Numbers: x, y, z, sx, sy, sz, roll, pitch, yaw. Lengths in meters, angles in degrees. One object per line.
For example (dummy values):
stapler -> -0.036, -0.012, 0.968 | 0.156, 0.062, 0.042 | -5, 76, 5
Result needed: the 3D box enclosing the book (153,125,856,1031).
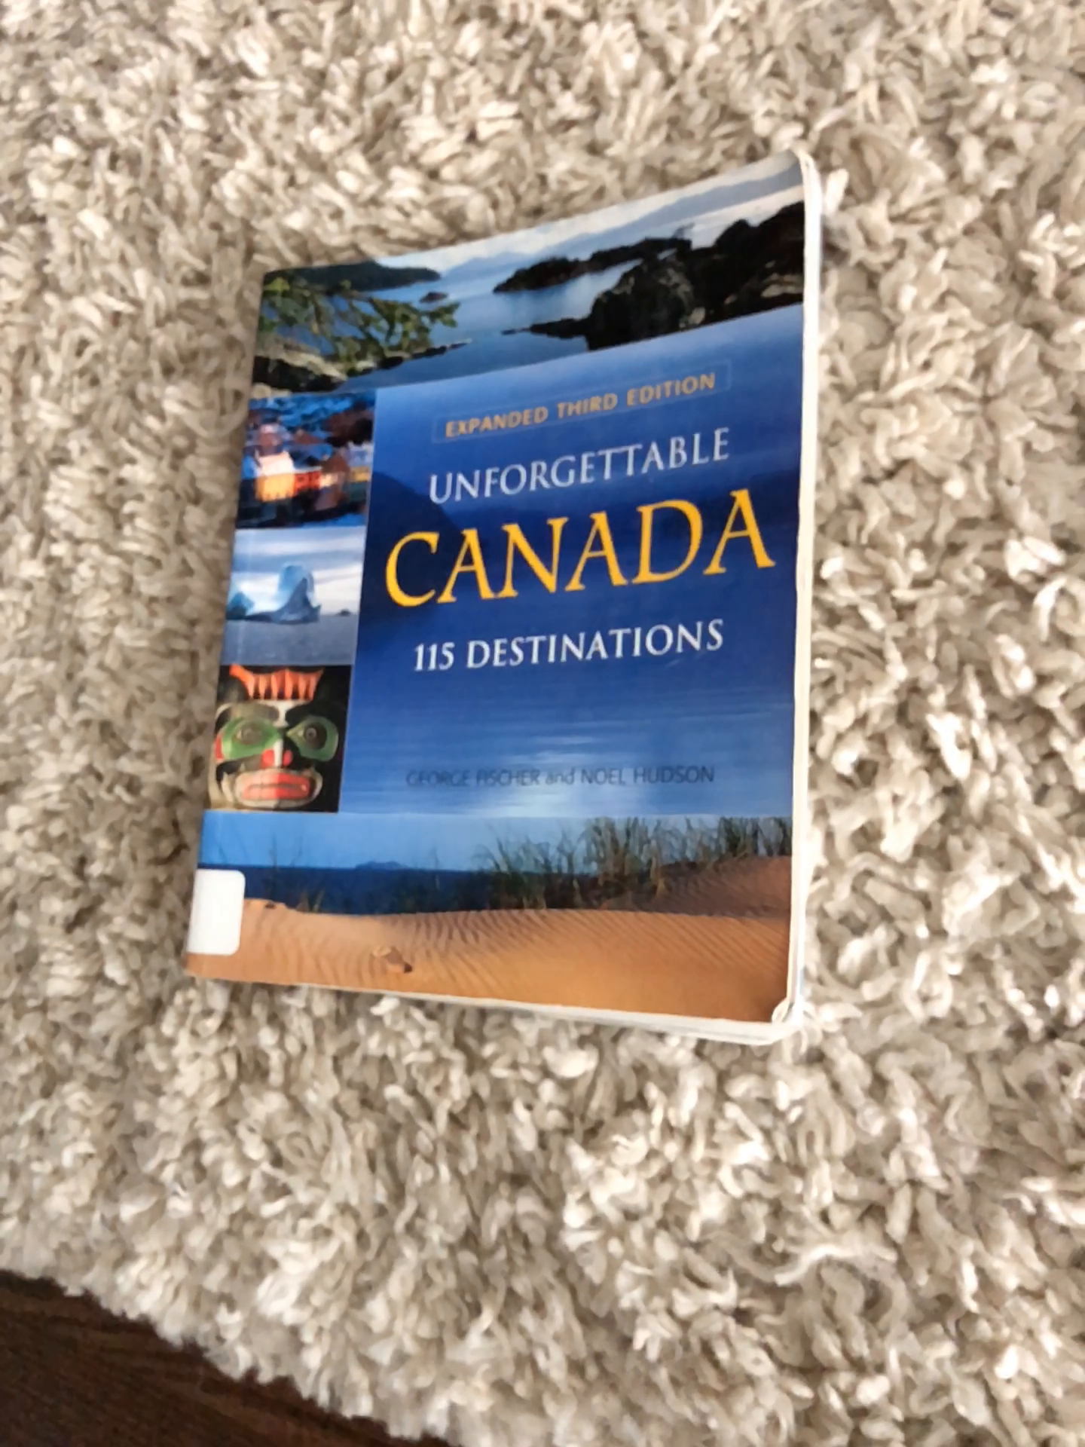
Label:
book -> -0.014, -0.038, 0.366 | 0.201, 0.040, 0.234 | -1, 79, 27
